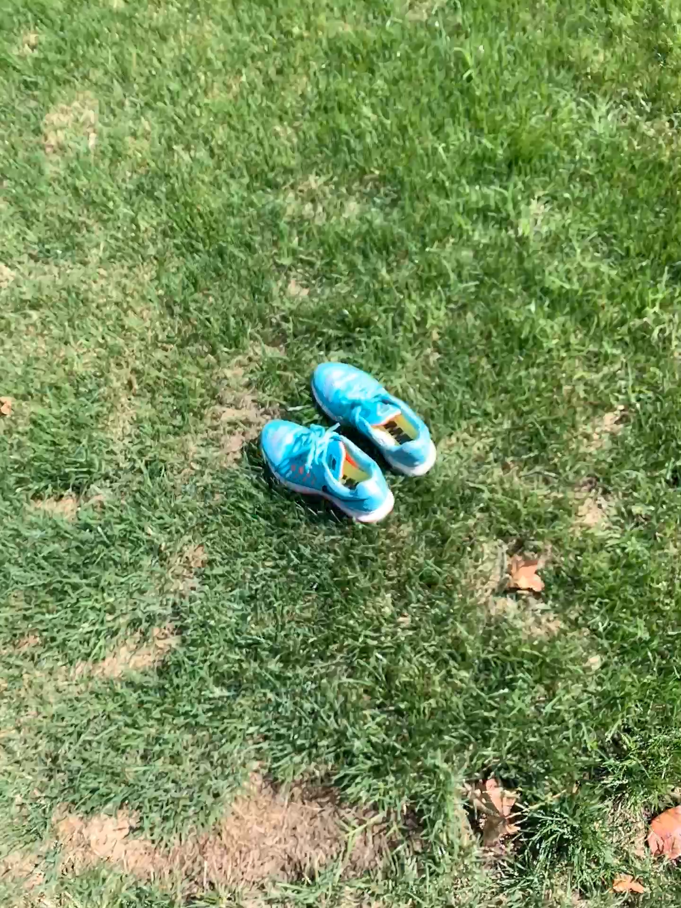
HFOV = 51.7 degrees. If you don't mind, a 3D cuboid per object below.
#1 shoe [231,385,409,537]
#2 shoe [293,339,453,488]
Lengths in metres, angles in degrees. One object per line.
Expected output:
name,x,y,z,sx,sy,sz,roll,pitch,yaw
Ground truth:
shoe,-0.031,0.011,1.142,0.260,0.100,0.110,28,71,15
shoe,0.052,-0.069,1.161,0.250,0.080,0.100,38,74,18
